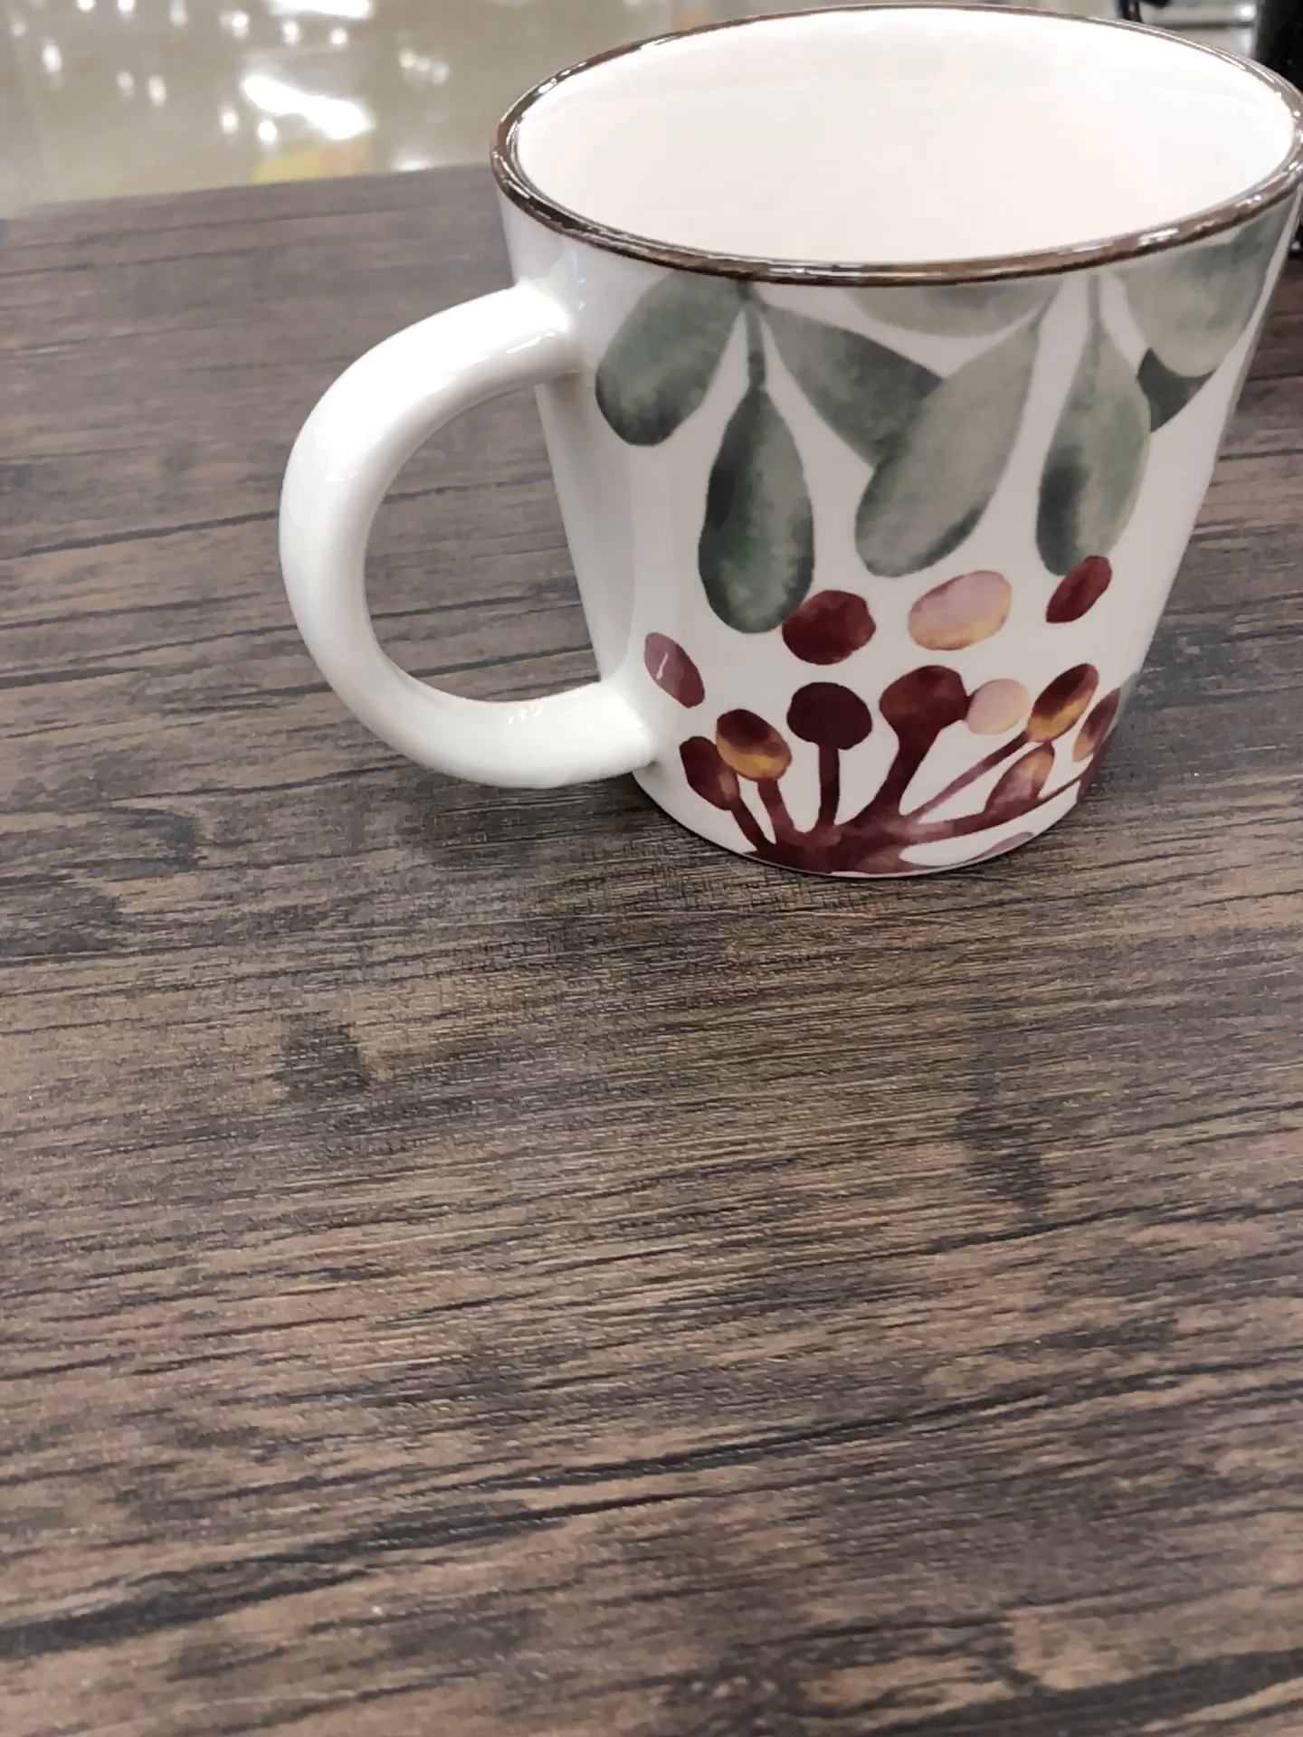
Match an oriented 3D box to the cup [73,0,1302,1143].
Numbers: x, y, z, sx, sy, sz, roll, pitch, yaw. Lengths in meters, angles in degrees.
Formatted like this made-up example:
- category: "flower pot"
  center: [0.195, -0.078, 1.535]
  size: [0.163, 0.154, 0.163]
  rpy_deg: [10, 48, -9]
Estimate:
- category: "cup"
  center: [0.018, -0.059, 0.219]
  size: [0.150, 0.110, 0.100]
  rpy_deg: [-23, 47, -19]
